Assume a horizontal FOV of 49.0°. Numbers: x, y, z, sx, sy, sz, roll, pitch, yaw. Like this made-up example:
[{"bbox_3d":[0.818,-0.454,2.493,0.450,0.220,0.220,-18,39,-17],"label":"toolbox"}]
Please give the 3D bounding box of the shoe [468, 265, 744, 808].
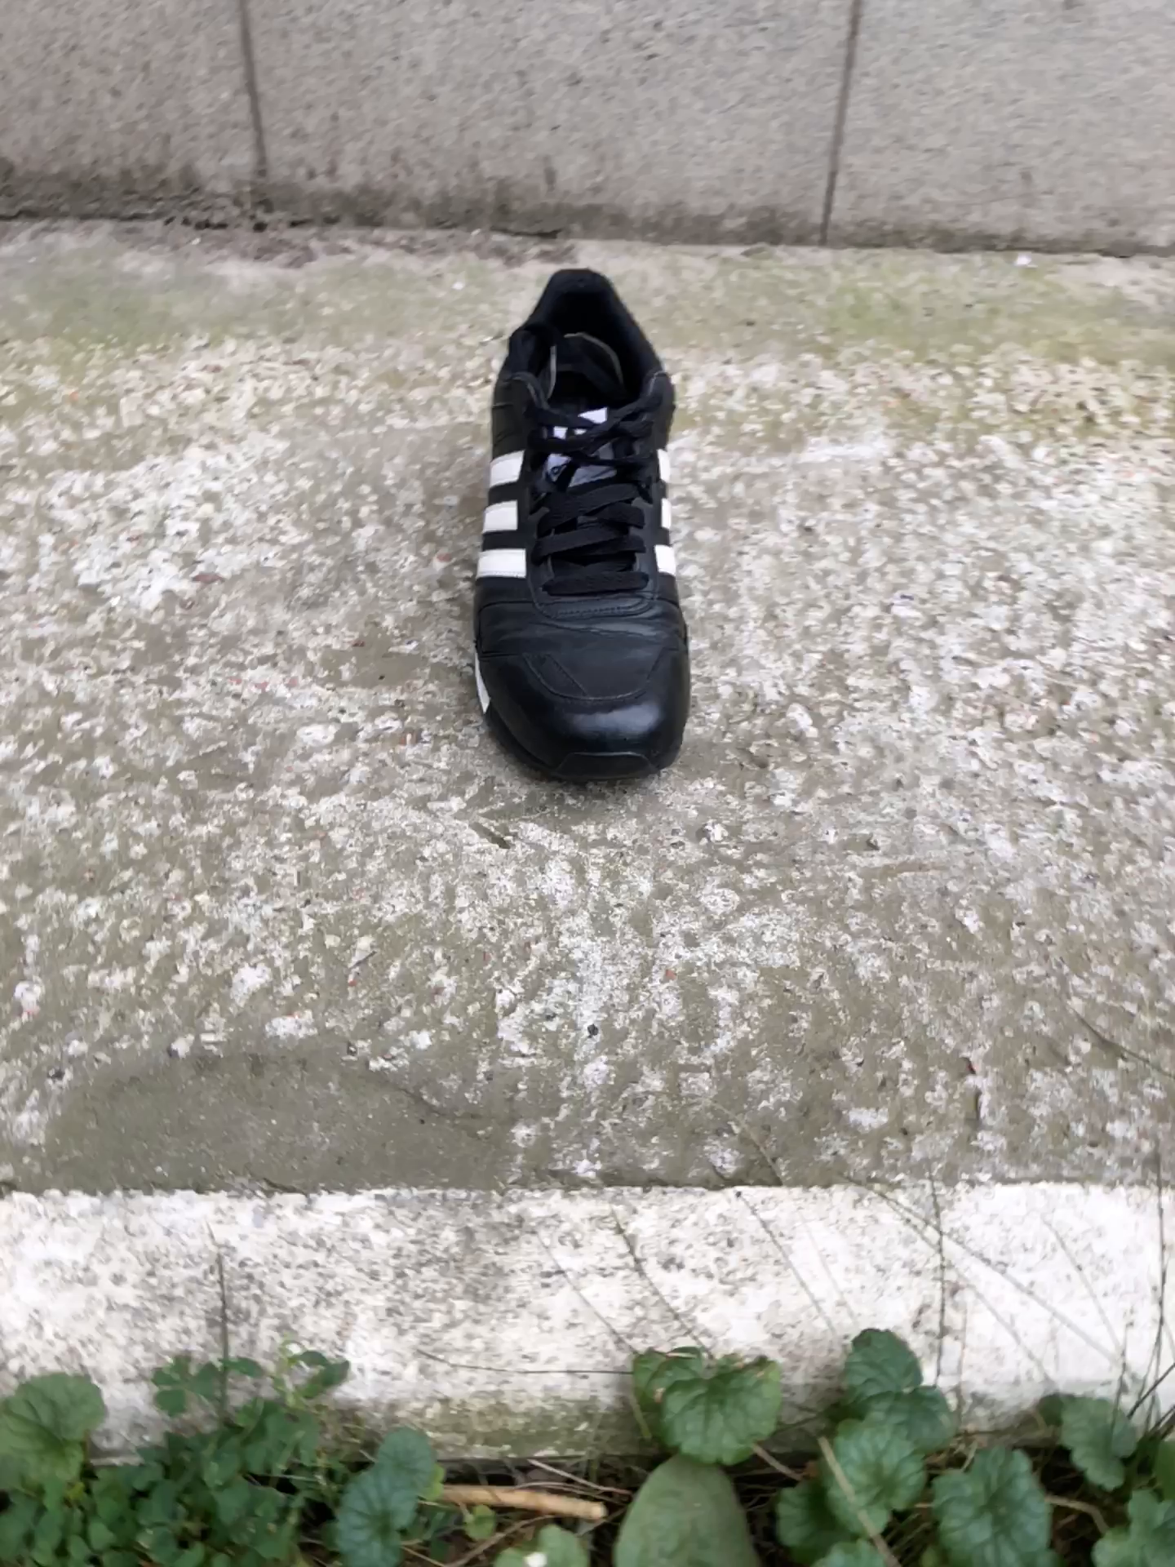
[{"bbox_3d":[-0.004,-0.130,0.609,0.100,0.119,0.282,-1,43,-4],"label":"shoe"}]
